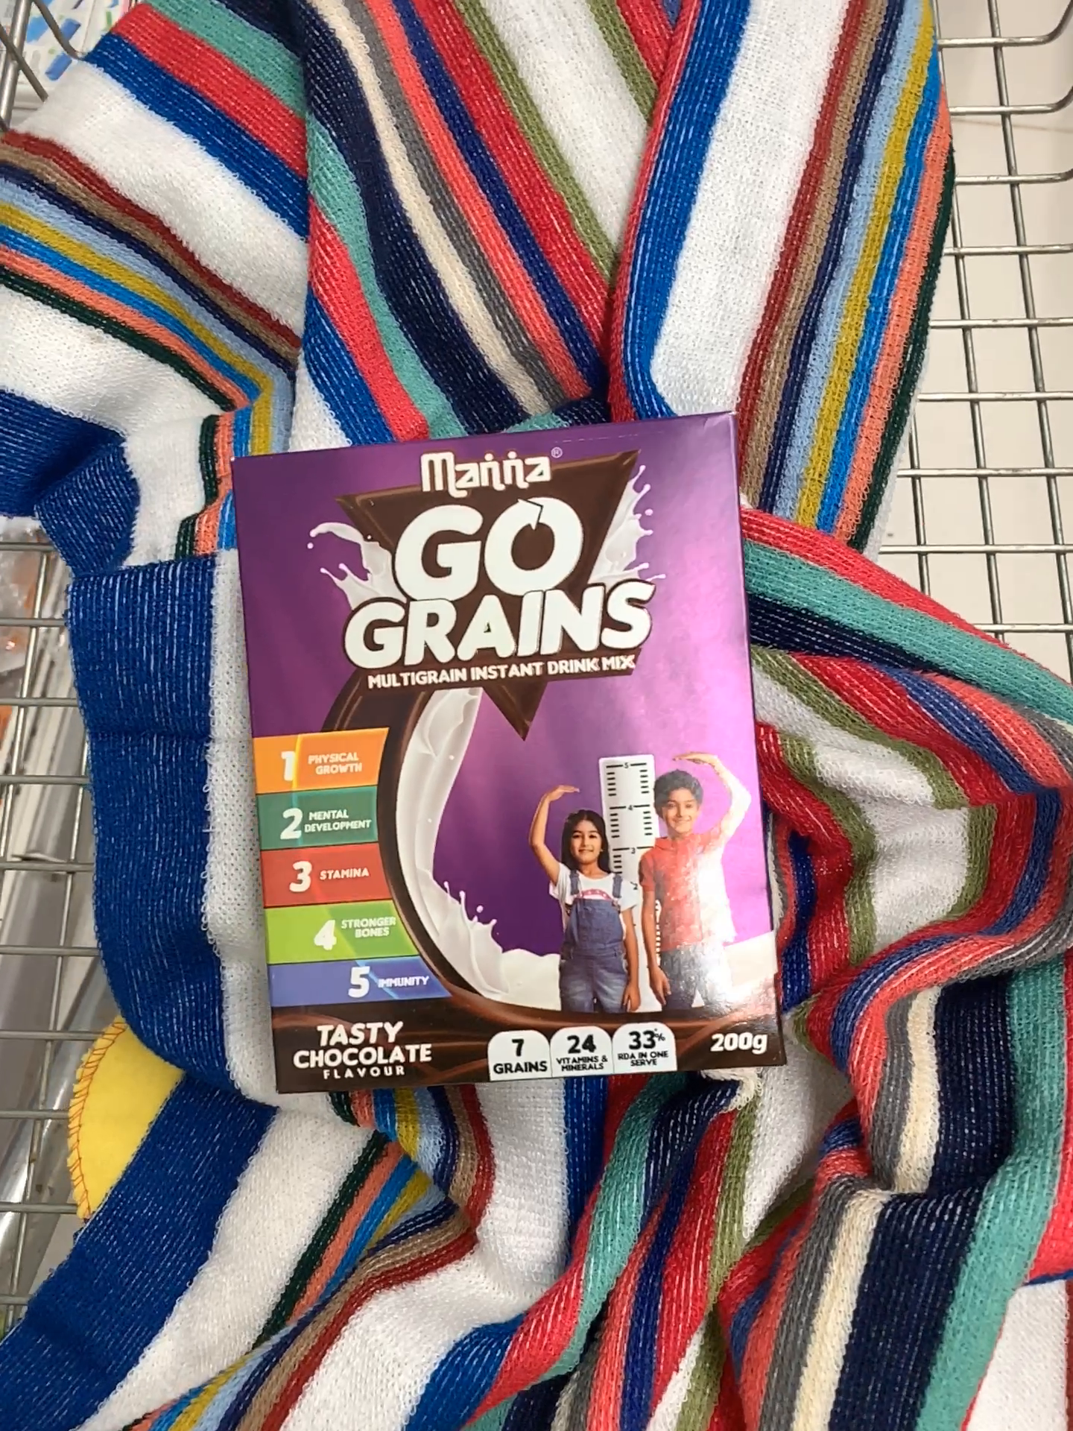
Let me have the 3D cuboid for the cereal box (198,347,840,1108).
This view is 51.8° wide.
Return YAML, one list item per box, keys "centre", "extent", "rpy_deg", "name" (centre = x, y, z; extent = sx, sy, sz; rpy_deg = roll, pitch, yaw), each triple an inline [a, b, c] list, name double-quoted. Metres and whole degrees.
- centre: [-0.003, 0.004, 0.284]
  extent: [0.140, 0.050, 0.170]
  rpy_deg: [-4, 91, 2]
  name: "cereal box"
